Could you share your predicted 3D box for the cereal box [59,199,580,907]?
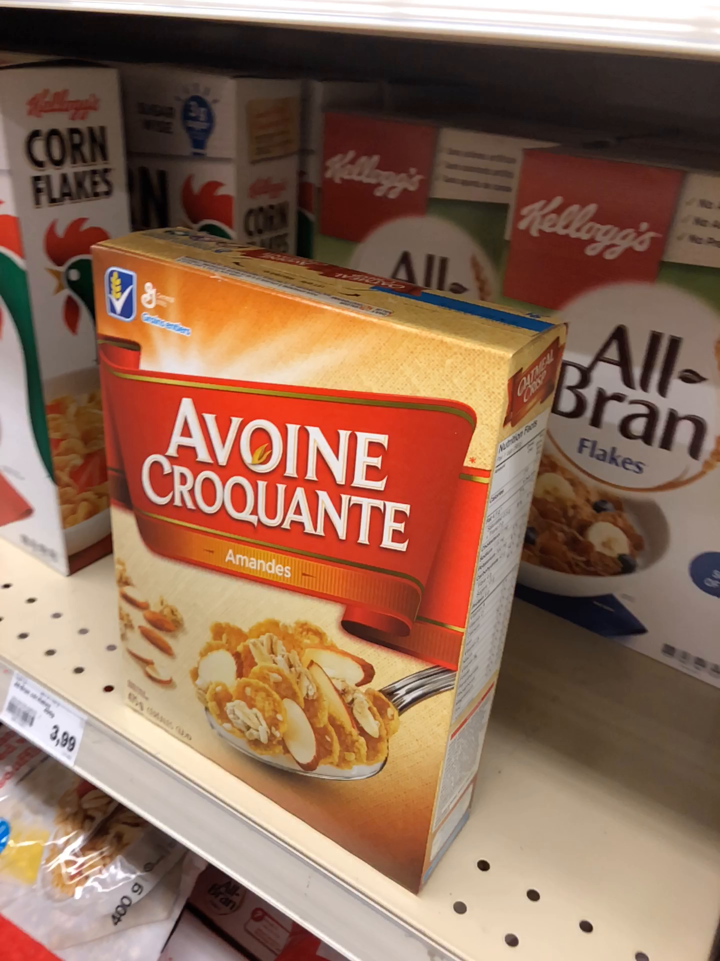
[{"bbox_3d":[-0.032,0.031,0.364,0.201,0.268,0.060,21,33,28],"label":"cereal box"}]
